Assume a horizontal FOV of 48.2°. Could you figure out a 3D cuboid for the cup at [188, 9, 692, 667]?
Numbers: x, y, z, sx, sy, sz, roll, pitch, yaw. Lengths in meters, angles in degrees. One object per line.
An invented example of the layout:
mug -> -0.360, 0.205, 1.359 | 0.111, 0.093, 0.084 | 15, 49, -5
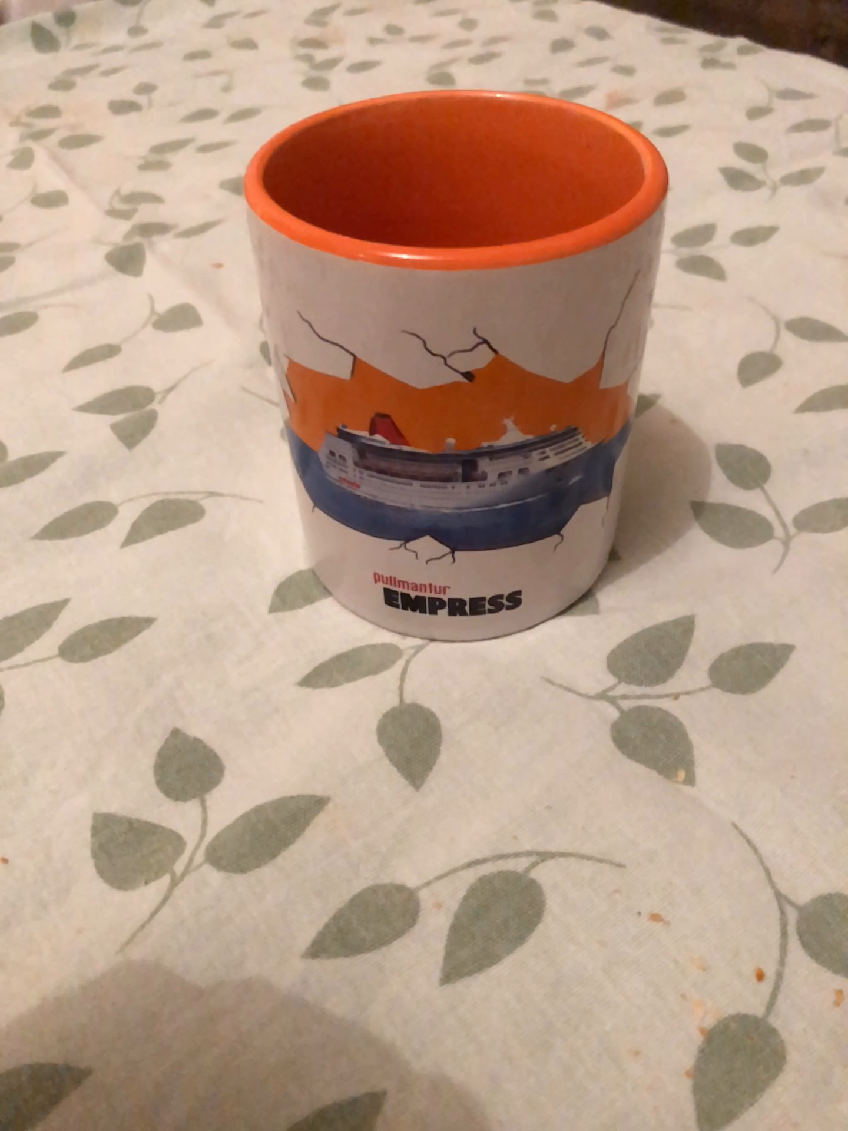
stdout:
cup -> 0.015, -0.059, 0.225 | 0.080, 0.099, 0.121 | 6, 44, 10
